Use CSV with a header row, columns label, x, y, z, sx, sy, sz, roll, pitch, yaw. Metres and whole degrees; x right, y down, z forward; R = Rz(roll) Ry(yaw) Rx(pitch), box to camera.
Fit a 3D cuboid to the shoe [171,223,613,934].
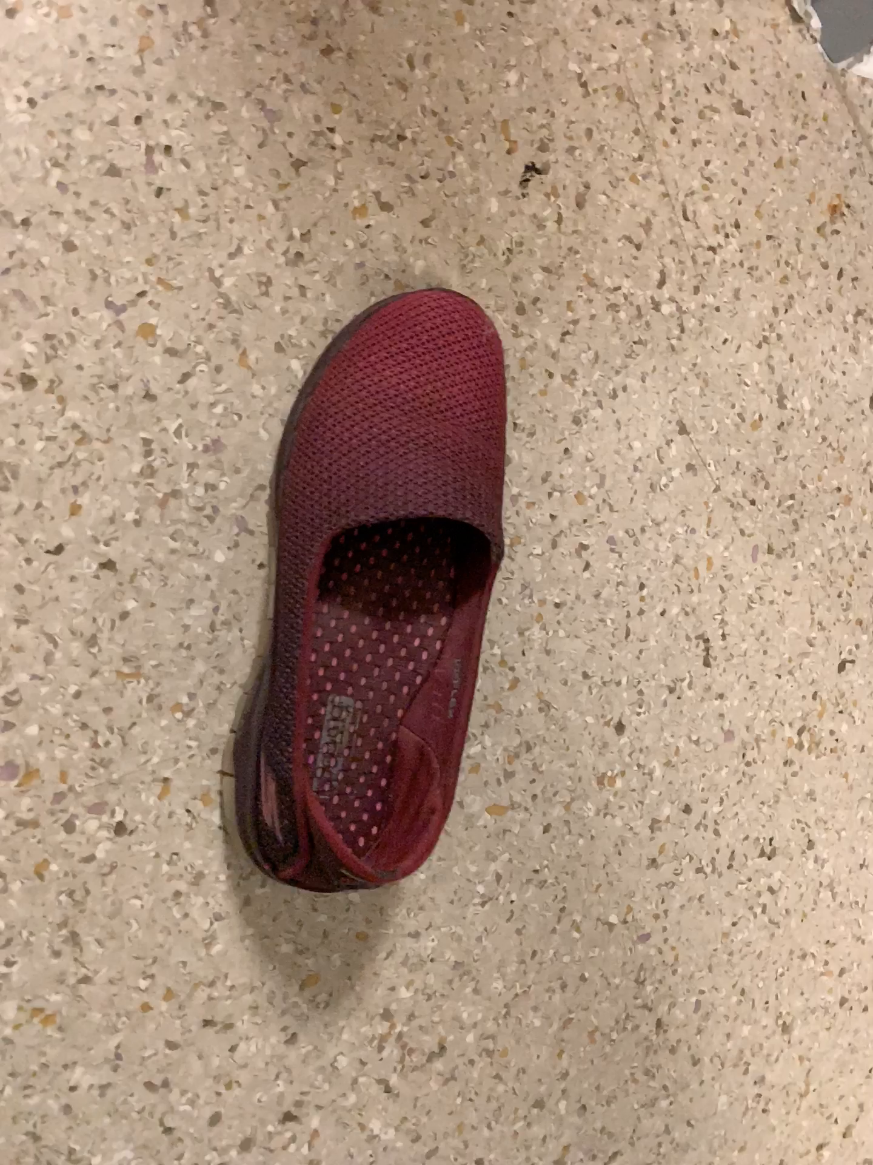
label,x,y,z,sx,sy,sz,roll,pitch,yaw
shoe,-0.020,0.001,0.348,0.092,0.091,0.229,17,83,-25
